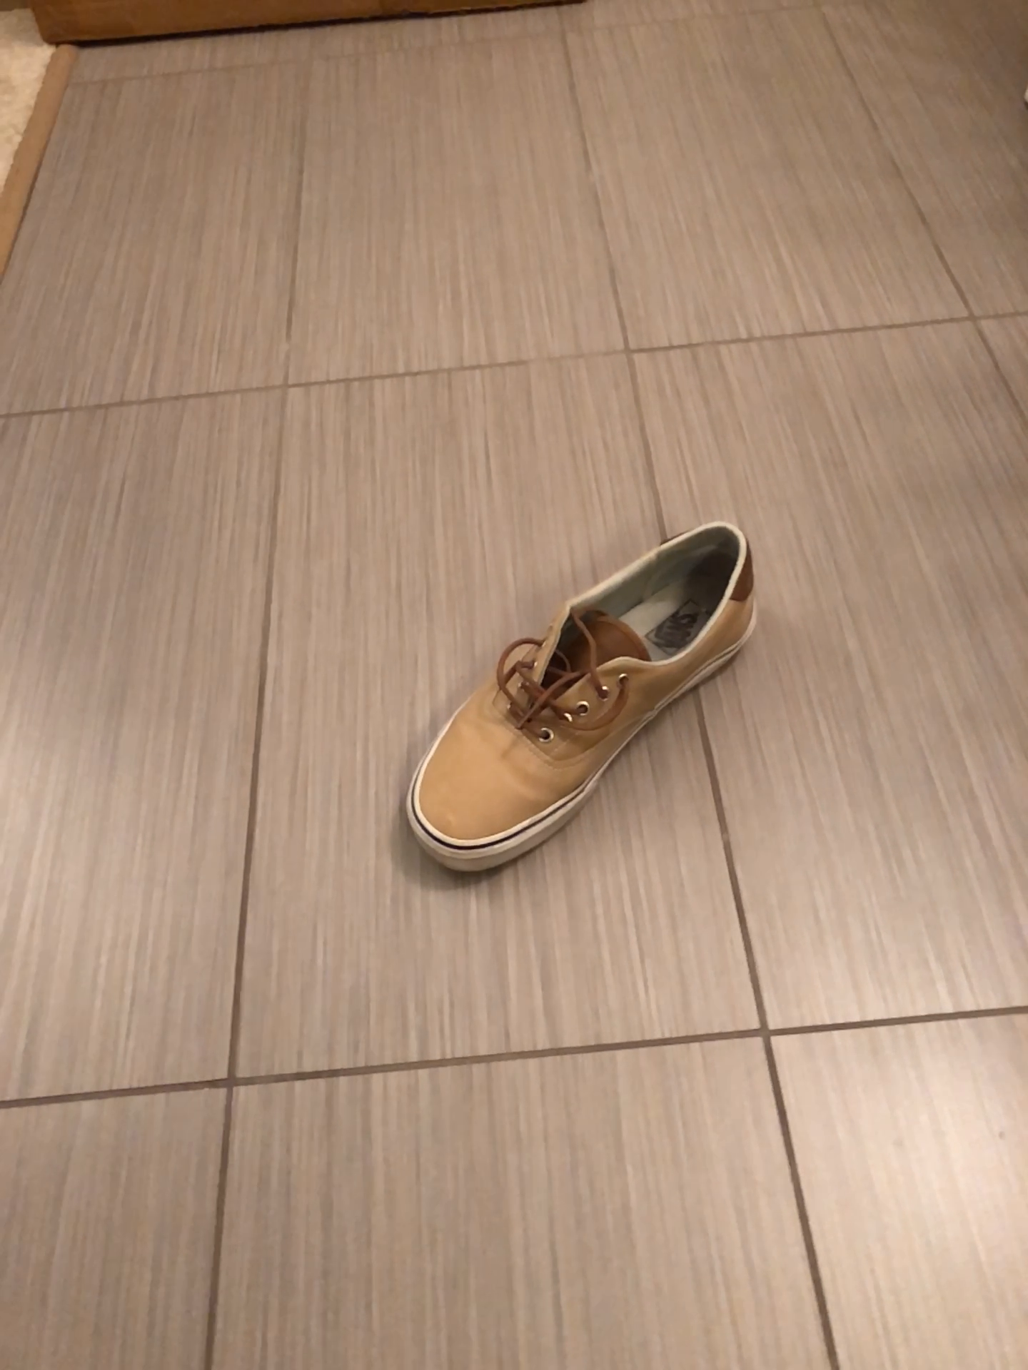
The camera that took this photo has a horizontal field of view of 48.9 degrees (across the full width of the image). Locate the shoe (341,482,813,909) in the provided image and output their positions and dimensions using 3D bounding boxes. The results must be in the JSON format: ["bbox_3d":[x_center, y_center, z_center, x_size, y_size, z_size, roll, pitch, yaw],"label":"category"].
[{"bbox_3d":[0.049,-0.004,0.744,0.311,0.070,0.110,-38,59,-22],"label":"shoe"}]
